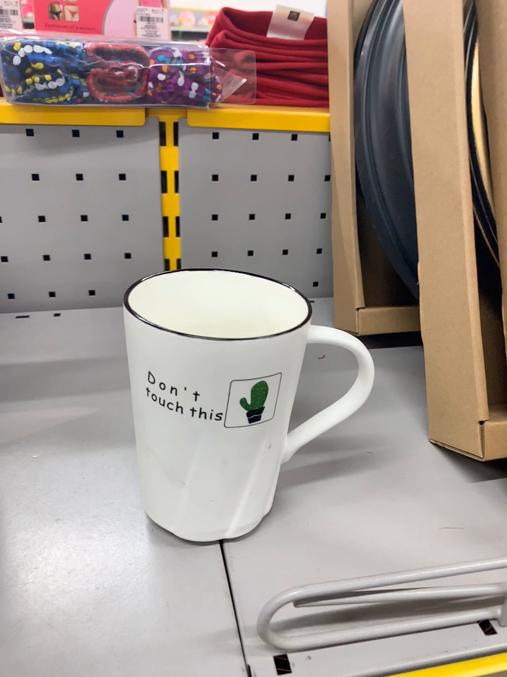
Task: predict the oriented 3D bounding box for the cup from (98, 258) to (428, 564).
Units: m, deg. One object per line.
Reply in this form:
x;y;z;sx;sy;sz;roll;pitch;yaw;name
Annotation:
-0.002;0.031;0.270;0.130;0.119;0.090;-1;27;-9;cup
